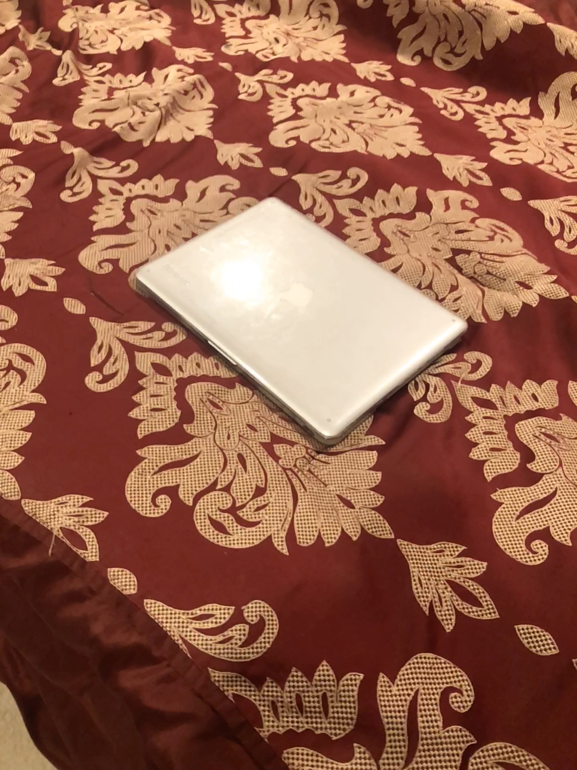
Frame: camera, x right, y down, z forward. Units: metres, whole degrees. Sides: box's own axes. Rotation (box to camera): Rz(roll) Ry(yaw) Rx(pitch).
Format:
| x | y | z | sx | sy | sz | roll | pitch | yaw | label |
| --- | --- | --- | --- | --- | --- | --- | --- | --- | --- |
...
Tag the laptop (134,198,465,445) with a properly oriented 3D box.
| x | y | z | sx | sy | sz | roll | pitch | yaw | label |
| --- | --- | --- | --- | --- | --- | --- | --- | --- | --- |
| 0.005 | -0.091 | 0.698 | 0.207 | 0.015 | 0.304 | -36 | 58 | -26 | laptop |
